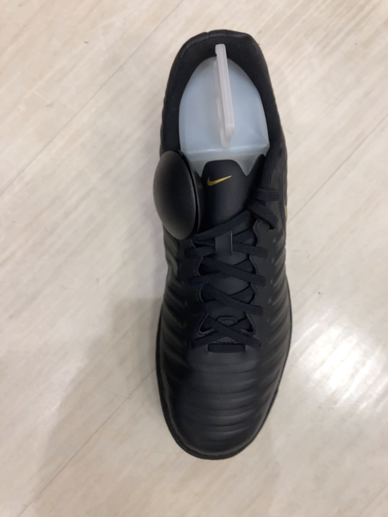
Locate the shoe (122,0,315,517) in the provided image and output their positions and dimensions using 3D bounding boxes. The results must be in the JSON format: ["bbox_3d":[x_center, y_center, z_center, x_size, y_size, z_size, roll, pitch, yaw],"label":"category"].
[{"bbox_3d":[0.016,-0.002,0.290,0.100,0.110,0.290,0,86,3],"label":"shoe"}]
